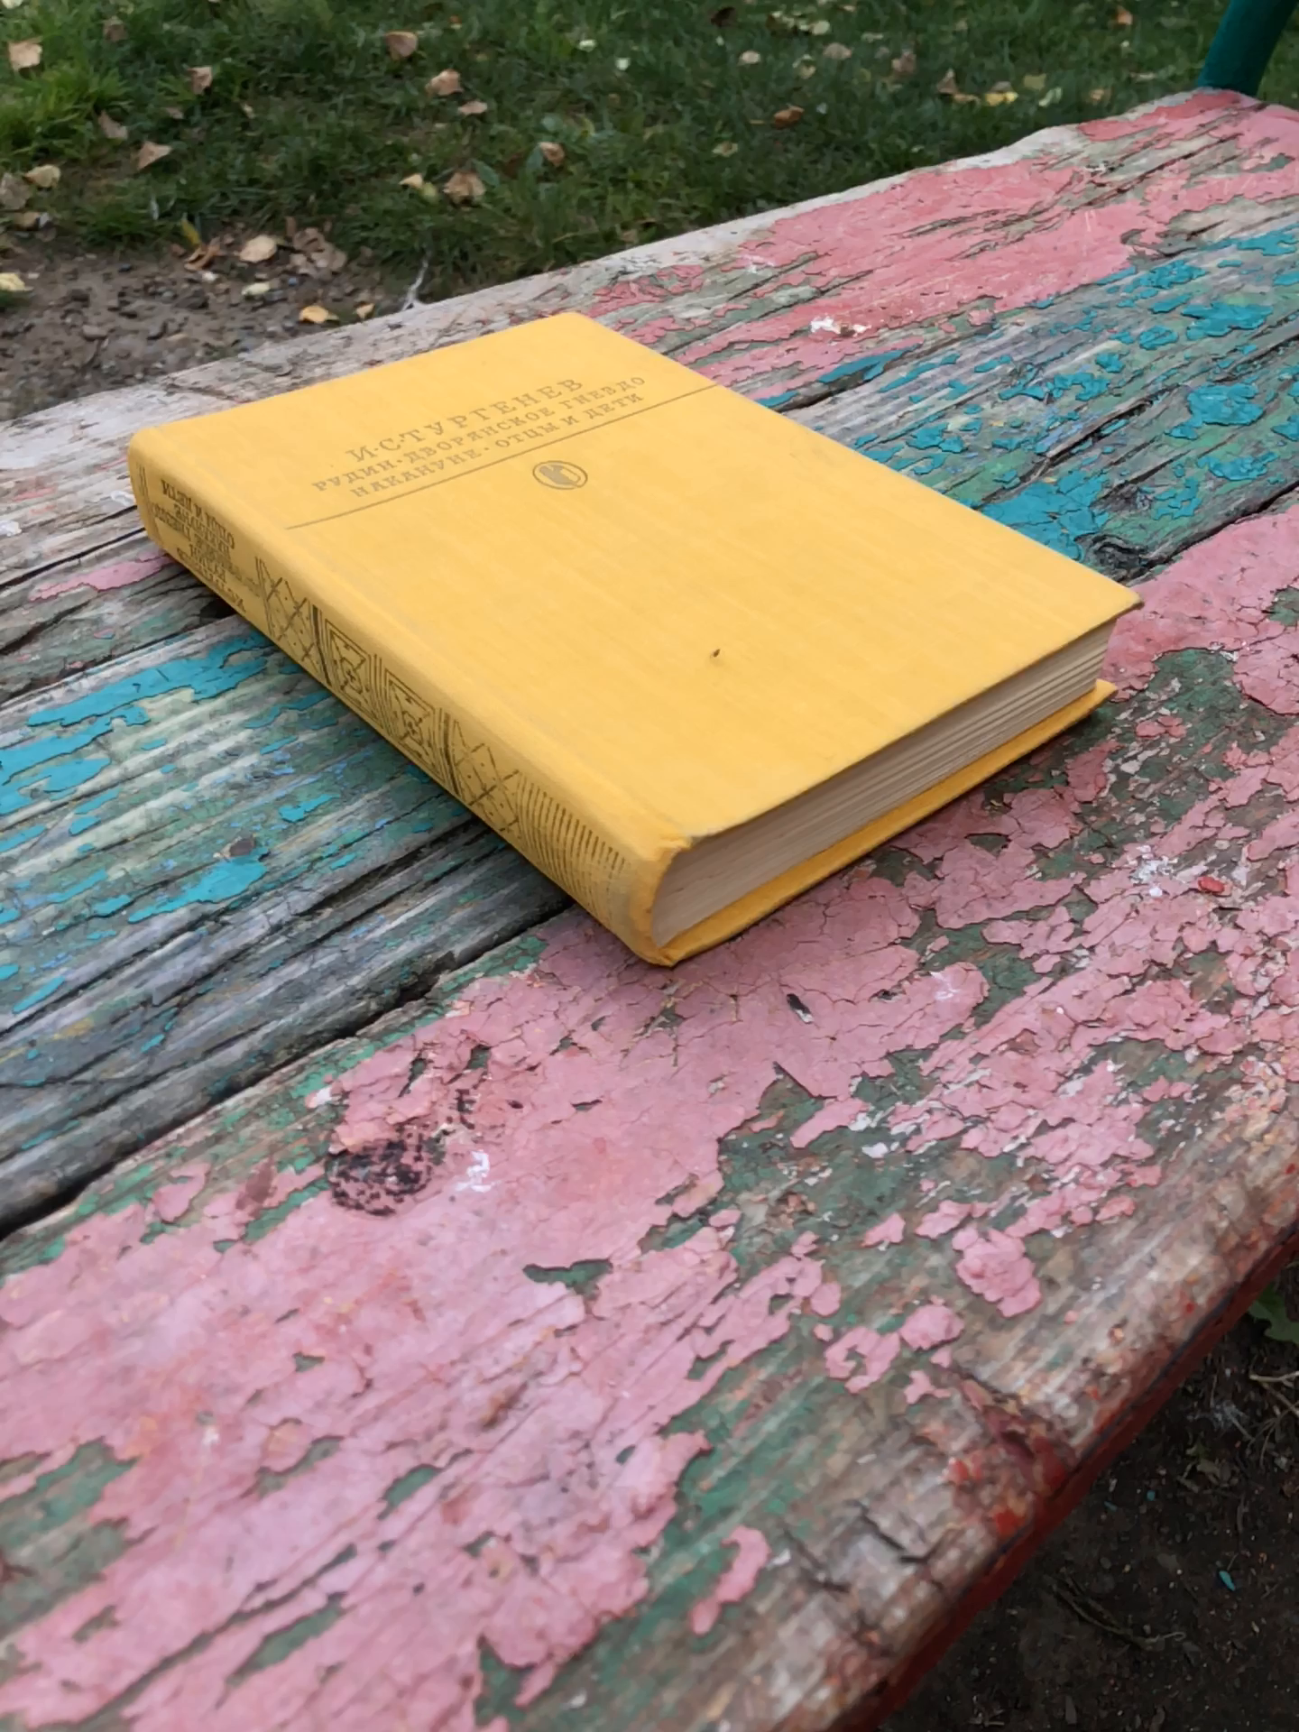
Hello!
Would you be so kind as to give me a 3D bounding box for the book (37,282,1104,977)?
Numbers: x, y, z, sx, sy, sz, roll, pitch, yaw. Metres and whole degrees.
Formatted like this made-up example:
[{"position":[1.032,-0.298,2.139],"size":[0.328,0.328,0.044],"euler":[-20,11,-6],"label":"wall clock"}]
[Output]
[{"position":[-0.027,-0.080,0.355],"size":[0.153,0.032,0.217],"euler":[-29,51,-31],"label":"book"}]
